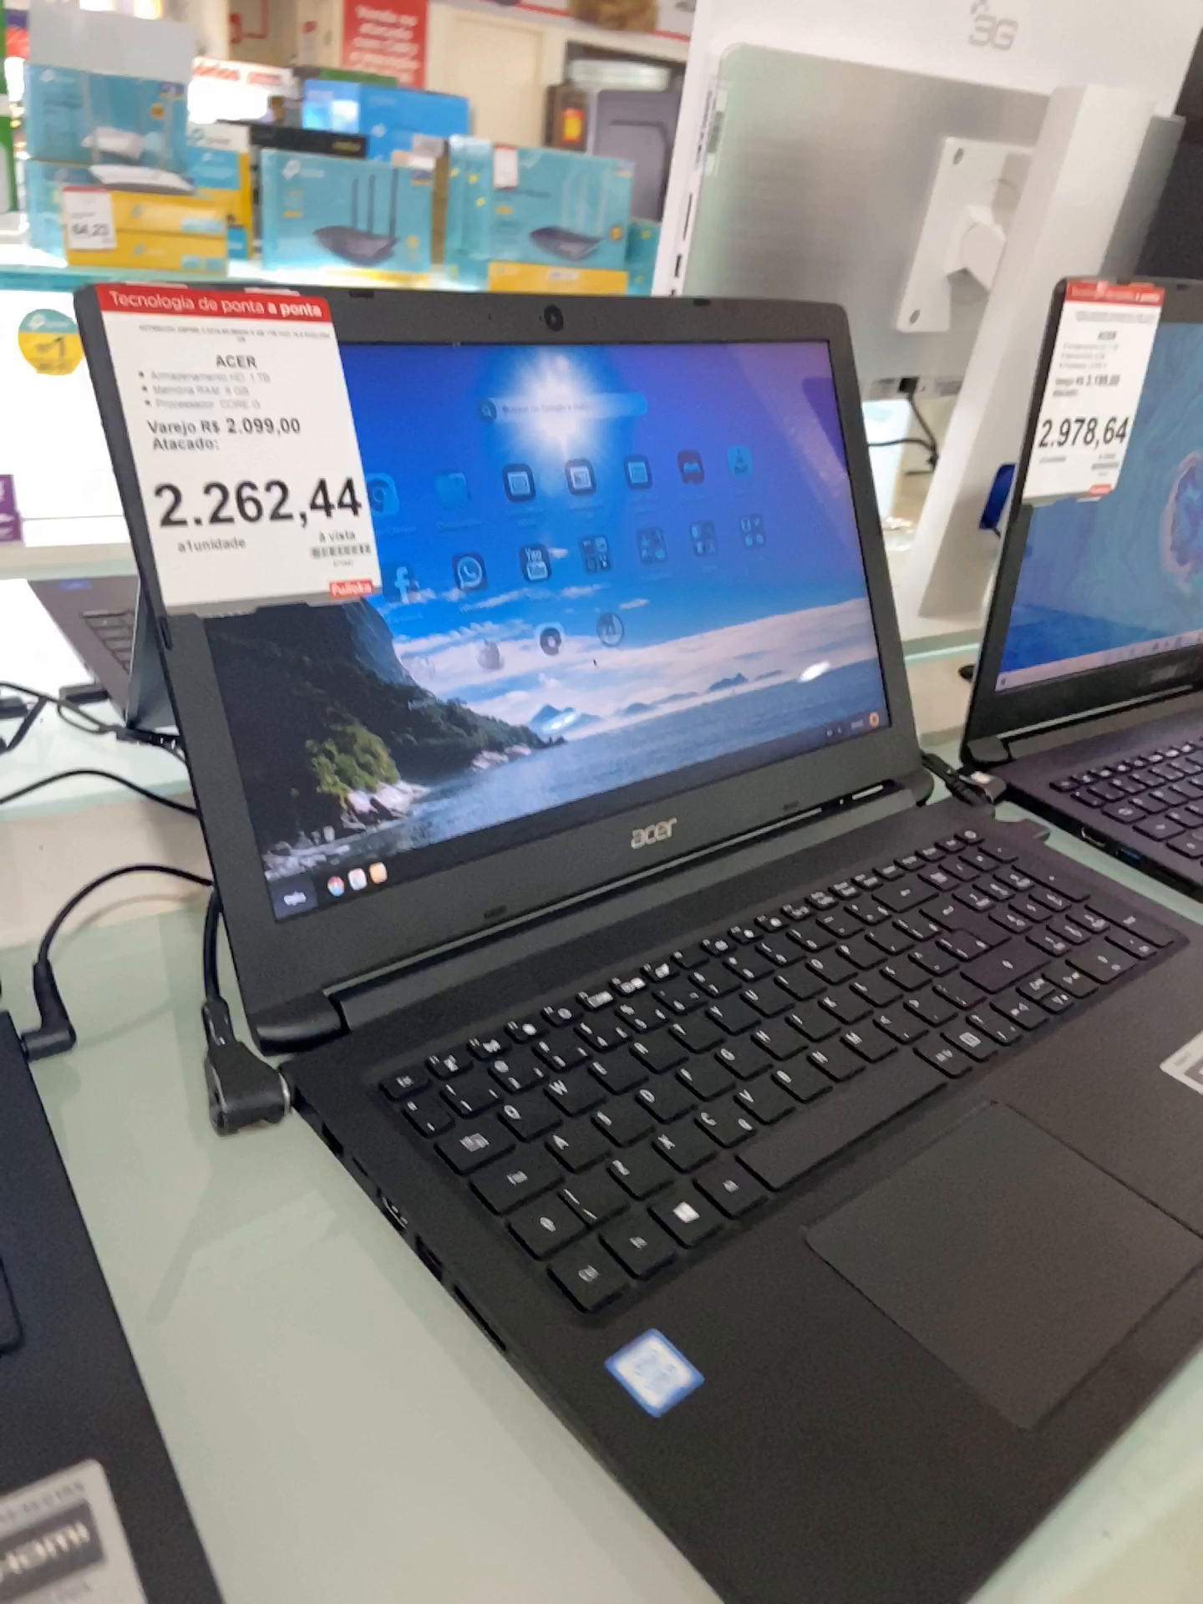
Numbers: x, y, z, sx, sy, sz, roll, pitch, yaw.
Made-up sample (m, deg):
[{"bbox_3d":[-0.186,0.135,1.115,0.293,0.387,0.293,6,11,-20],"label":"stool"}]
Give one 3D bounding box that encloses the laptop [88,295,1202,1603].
[{"bbox_3d":[0.090,-0.032,0.448,0.390,0.226,0.375,-16,34,-38],"label":"laptop"}]
